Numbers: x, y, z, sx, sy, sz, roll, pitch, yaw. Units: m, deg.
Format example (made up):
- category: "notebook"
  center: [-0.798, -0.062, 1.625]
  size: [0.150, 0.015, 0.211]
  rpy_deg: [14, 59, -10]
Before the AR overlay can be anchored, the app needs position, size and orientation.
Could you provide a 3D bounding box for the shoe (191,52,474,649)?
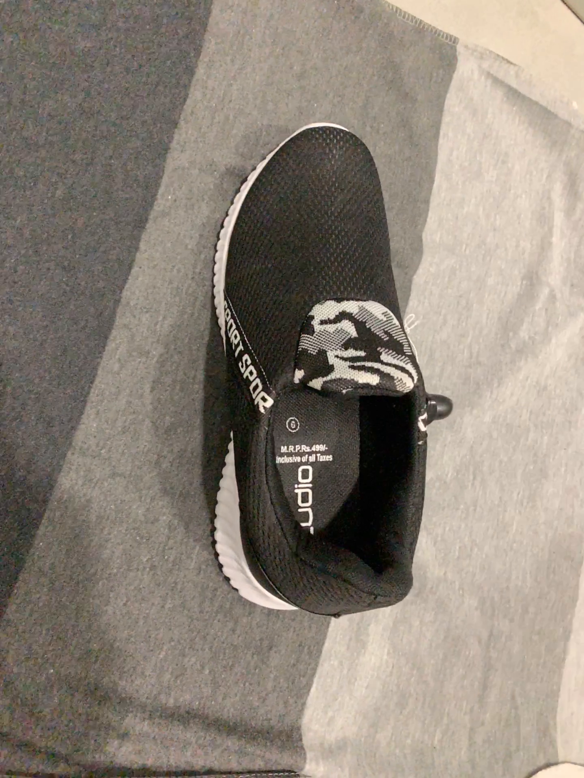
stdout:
- category: "shoe"
  center: [0.017, -0.013, 0.302]
  size: [0.100, 0.100, 0.240]
  rpy_deg: [5, 83, -20]
